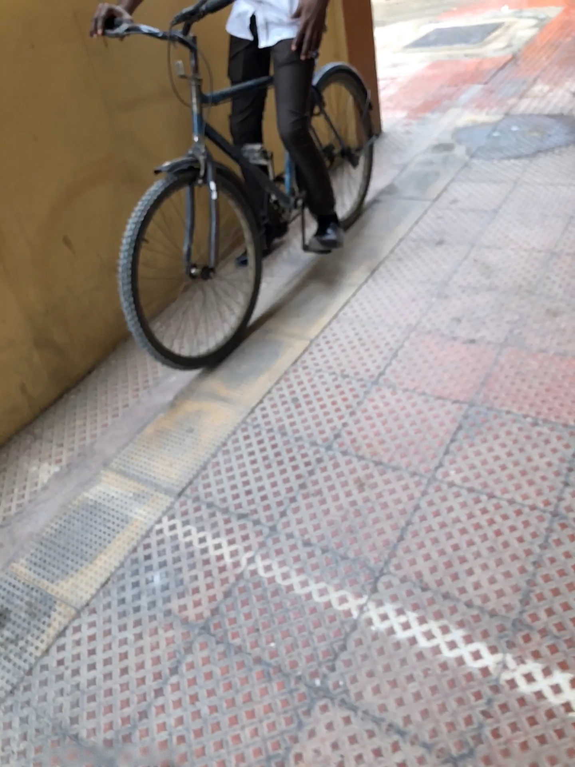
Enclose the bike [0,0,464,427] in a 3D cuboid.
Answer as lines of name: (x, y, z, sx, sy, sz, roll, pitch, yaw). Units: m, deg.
bike: (0.037, -0.809, 2.090, 0.588, 1.024, 1.582, 15, 43, 31)
